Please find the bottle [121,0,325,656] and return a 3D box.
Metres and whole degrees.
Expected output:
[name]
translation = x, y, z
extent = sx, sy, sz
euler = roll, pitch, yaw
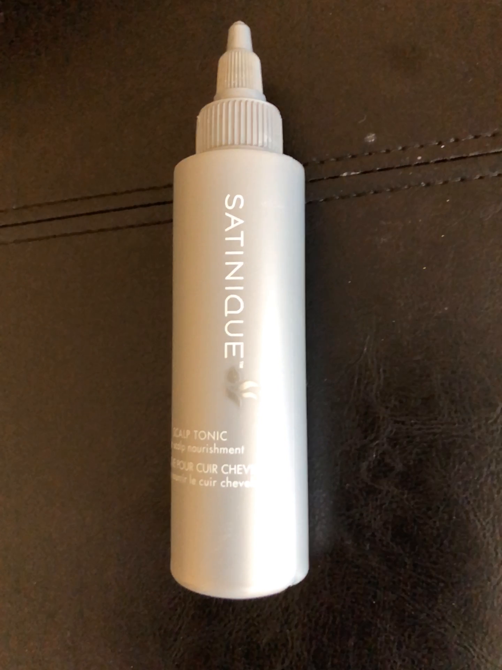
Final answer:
[bottle]
translation = -0.005, -0.002, 0.145
extent = 0.040, 0.040, 0.140
euler = -2, 87, 16
